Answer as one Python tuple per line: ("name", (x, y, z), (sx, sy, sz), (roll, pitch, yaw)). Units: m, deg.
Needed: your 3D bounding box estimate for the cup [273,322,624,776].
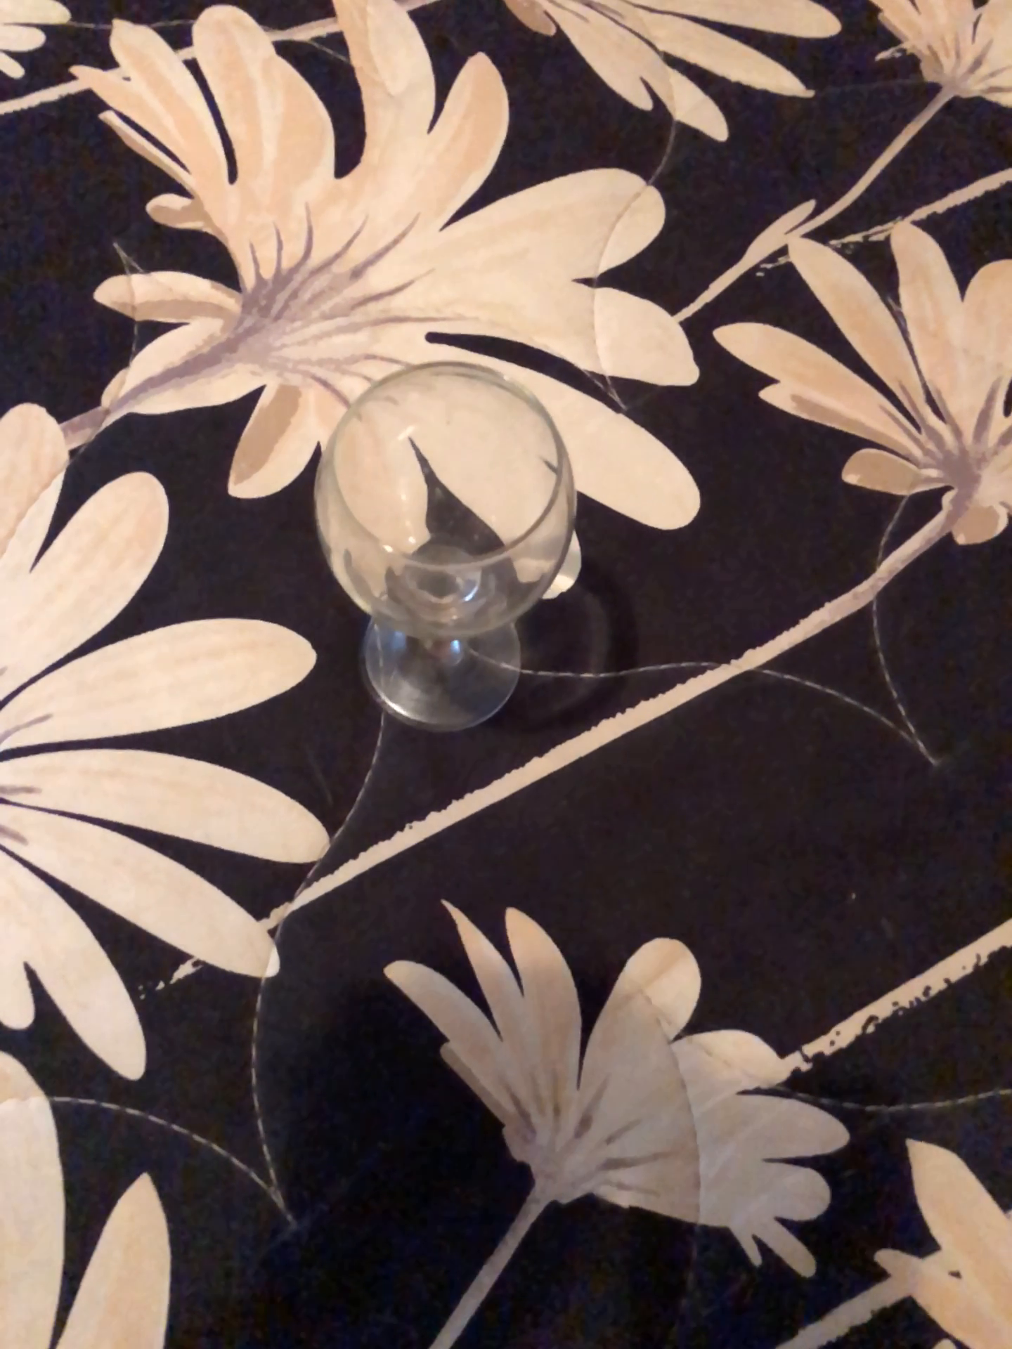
("cup", (-0.021, -0.031, 0.362), (0.082, 0.139, 0.084), (1, 70, -3))
